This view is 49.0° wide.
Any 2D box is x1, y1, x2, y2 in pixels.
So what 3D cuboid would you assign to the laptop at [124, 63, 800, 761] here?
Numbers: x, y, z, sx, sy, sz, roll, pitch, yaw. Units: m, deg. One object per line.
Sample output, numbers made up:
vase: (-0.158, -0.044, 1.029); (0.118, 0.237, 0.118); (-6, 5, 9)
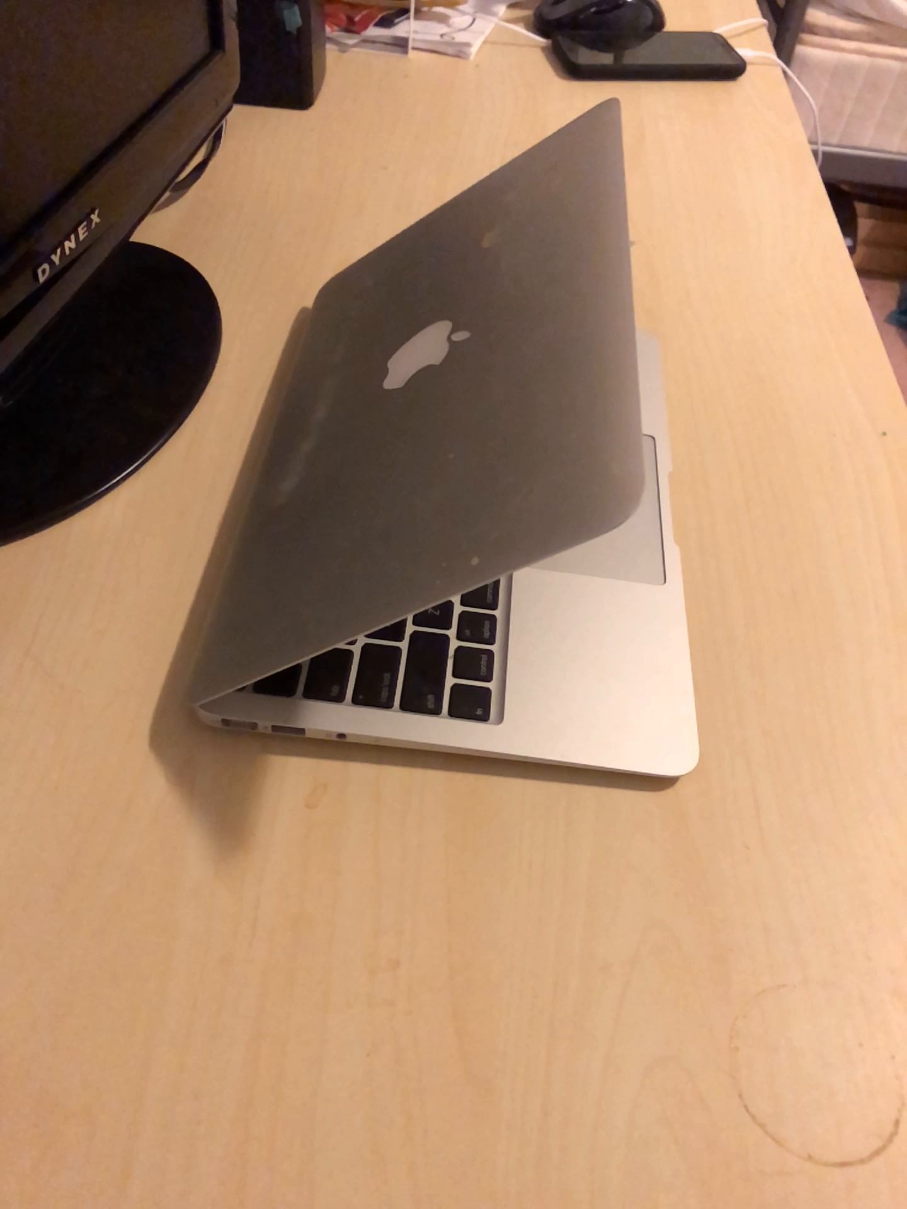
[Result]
laptop: (0.008, -0.099, 0.421); (0.189, 0.127, 0.288); (6, 48, 0)
